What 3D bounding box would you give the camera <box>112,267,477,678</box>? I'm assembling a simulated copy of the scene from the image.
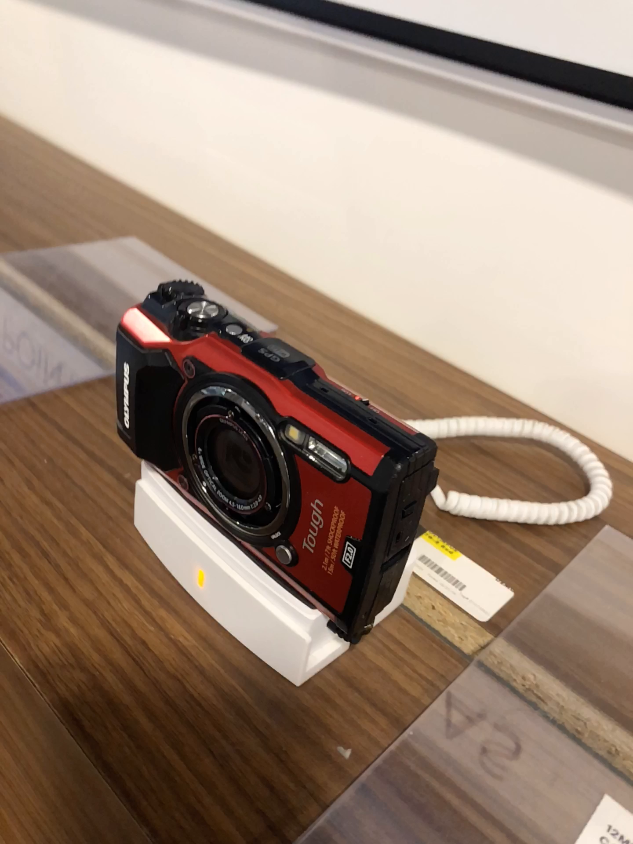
[{"bbox_3d":[-0.017,0.009,0.221,0.030,0.070,0.121,-20,44,-41],"label":"camera"}]
